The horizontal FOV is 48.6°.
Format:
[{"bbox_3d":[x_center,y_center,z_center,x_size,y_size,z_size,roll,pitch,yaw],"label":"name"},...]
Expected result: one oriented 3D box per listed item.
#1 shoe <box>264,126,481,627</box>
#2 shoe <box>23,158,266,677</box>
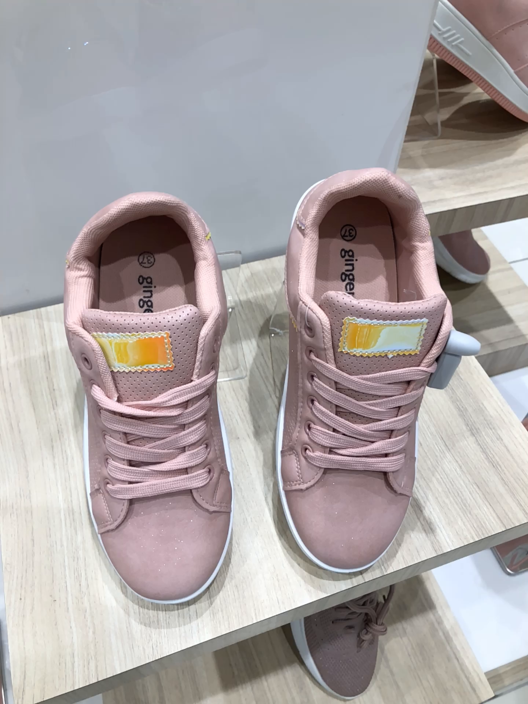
[{"bbox_3d":[0.059,0.013,0.357,0.099,0.094,0.261,3,88,-3],"label":"shoe"},{"bbox_3d":[-0.063,0.030,0.339,0.103,0.094,0.252,-4,91,-6],"label":"shoe"}]
